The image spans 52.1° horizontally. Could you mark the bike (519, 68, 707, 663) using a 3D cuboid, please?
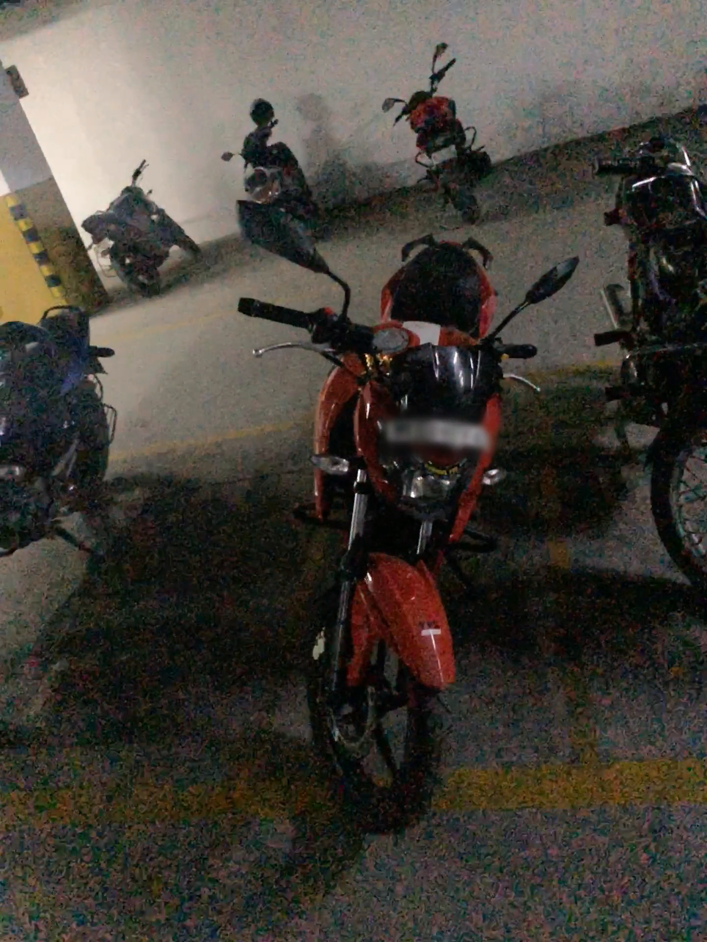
[{"bbox_3d":[0.991,-0.439,2.020,0.673,0.934,1.574,-12,31,12],"label":"bike"}]

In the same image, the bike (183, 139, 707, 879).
[{"bbox_3d":[0.282,-0.079,1.969,0.801,1.006,1.701,-12,33,11],"label":"bike"}]
